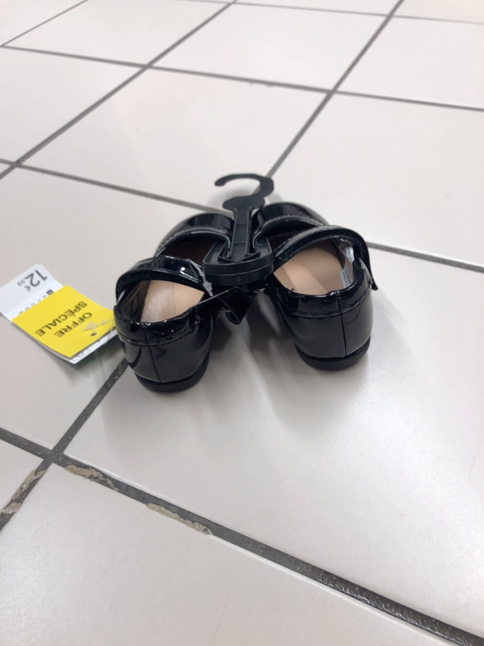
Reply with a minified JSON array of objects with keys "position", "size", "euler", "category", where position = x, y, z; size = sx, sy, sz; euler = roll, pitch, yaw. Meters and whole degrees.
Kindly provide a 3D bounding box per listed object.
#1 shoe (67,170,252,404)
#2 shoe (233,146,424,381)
[{"position":[-0.035,-0.026,0.291],"size":[0.059,0.047,0.130],"euler":[4,47,9],"category":"shoe"},{"position":[0.038,-0.039,0.291],"size":[0.059,0.047,0.127],"euler":[-11,46,-6],"category":"shoe"}]
